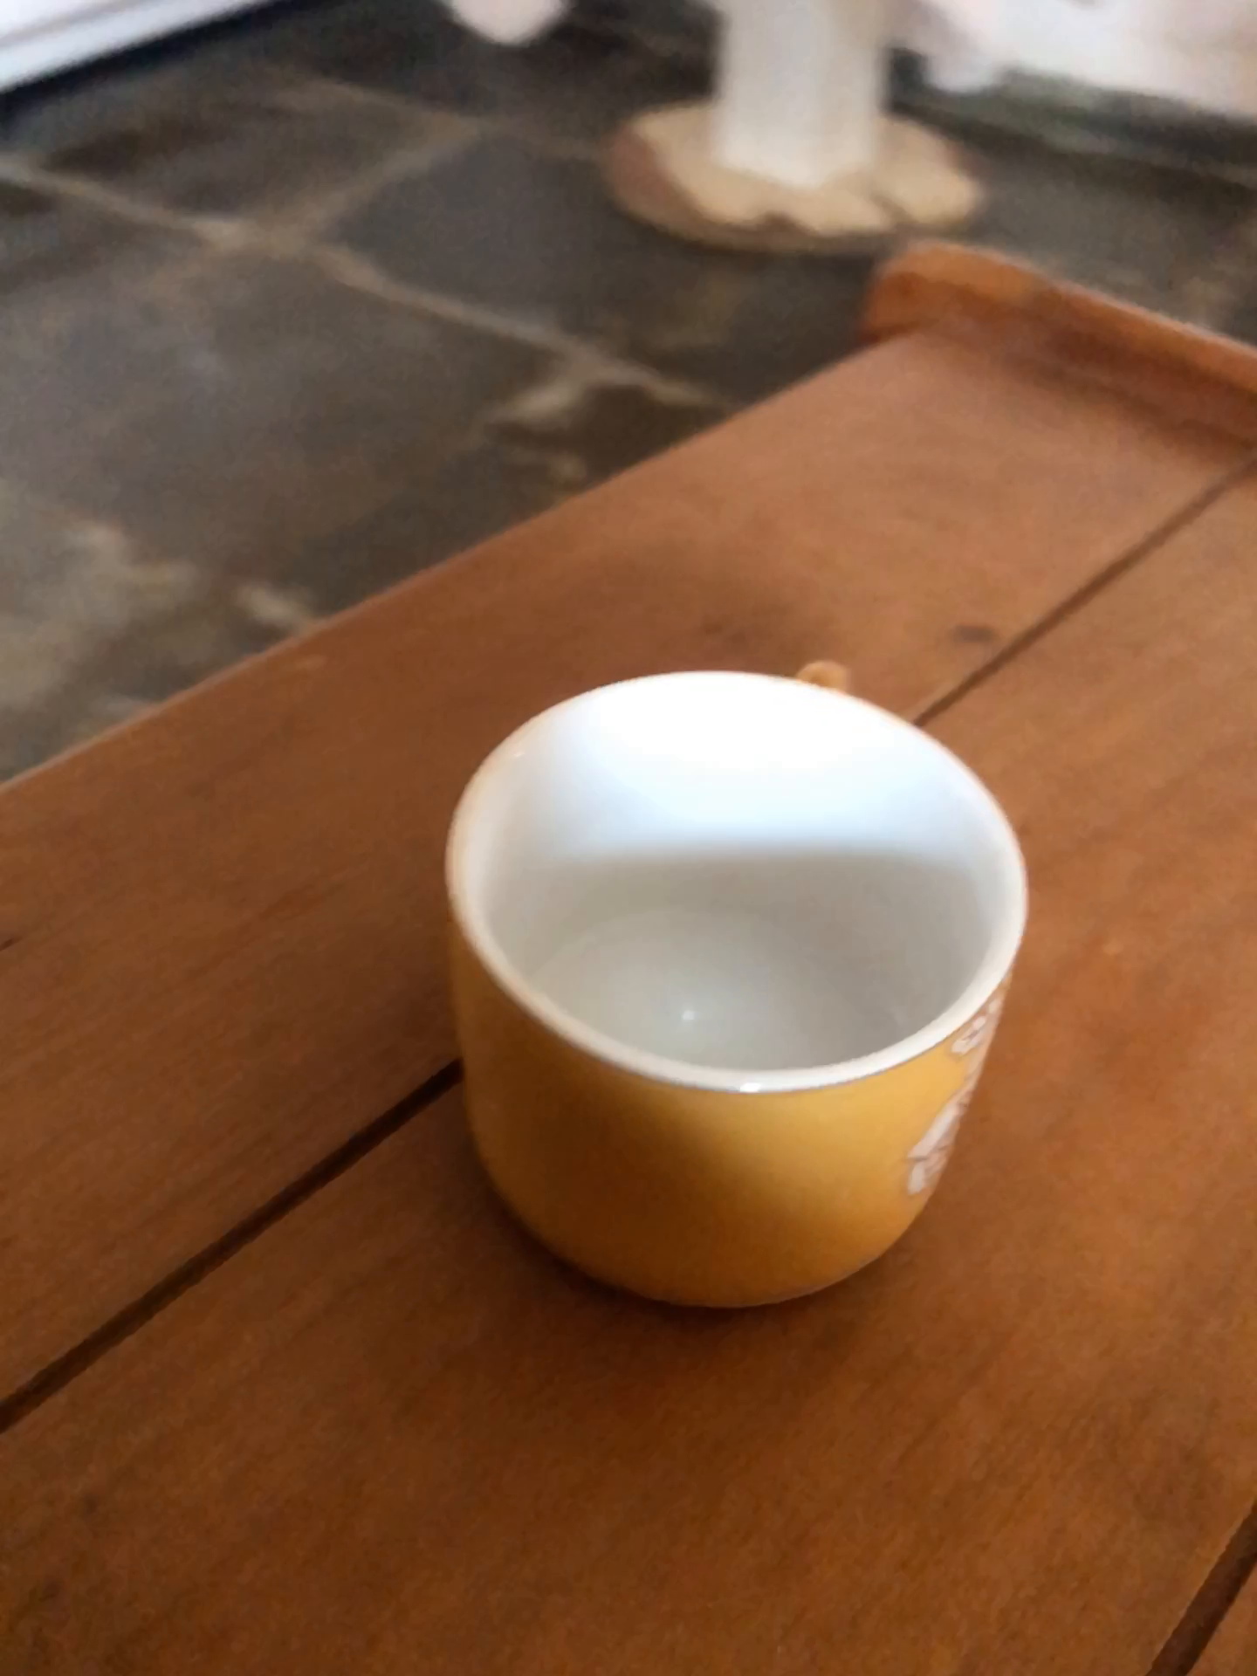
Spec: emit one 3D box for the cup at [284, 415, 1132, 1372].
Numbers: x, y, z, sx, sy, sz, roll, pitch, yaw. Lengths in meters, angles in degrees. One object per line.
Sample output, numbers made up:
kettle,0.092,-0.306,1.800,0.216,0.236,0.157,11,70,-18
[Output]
cup,0.015,0.000,0.167,0.070,0.050,0.091,12,45,10
